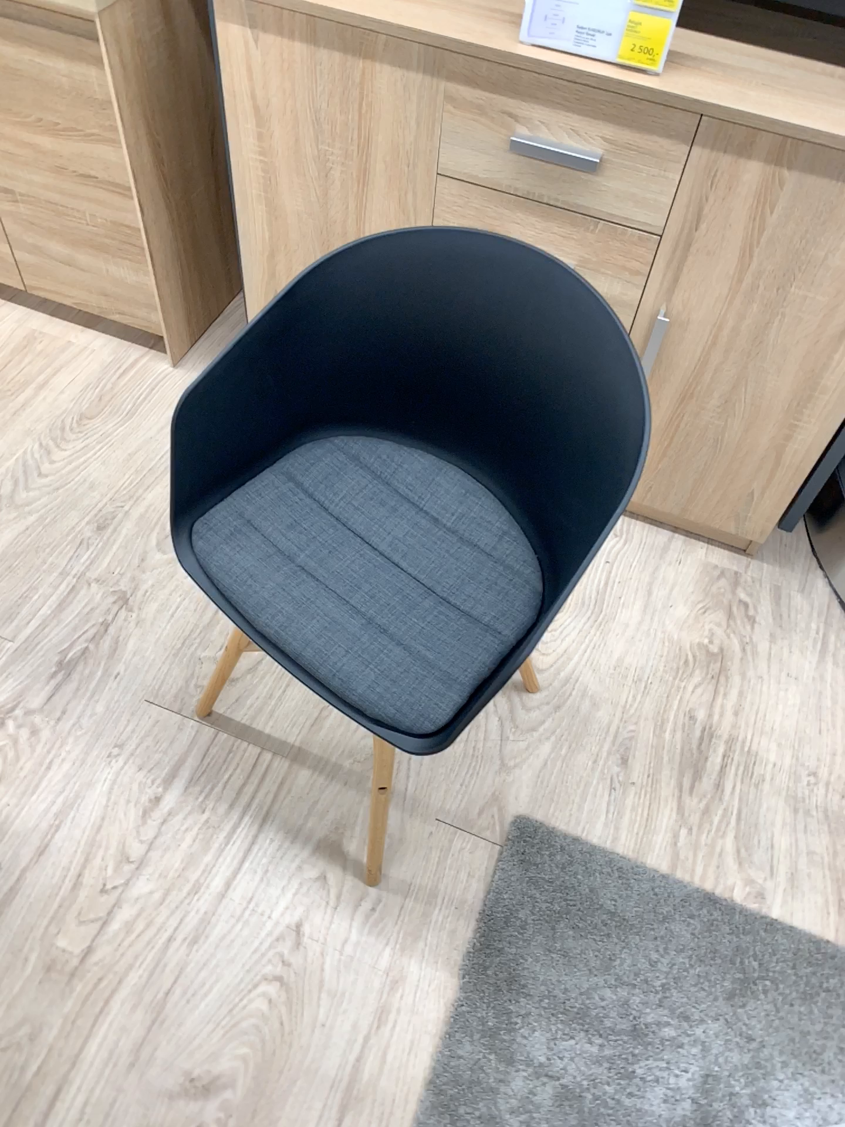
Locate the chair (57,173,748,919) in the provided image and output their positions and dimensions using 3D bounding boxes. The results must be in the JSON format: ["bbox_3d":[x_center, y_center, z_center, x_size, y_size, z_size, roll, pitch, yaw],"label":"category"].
[{"bbox_3d":[-0.030,0.013,1.237,0.511,0.787,0.551,36,58,20],"label":"chair"}]
